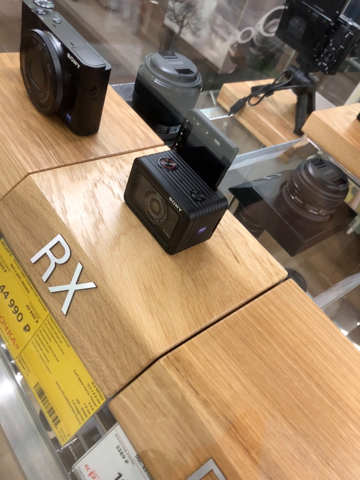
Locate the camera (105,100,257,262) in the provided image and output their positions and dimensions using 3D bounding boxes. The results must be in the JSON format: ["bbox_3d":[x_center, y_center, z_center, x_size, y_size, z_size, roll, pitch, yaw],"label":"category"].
[{"bbox_3d":[-0.003,-0.038,0.249,0.050,0.067,0.062,-22,61,-37],"label":"camera"}]

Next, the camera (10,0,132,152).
[{"bbox_3d":[-0.091,-0.133,0.318,0.041,0.067,0.105,-22,61,-37],"label":"camera"}]
